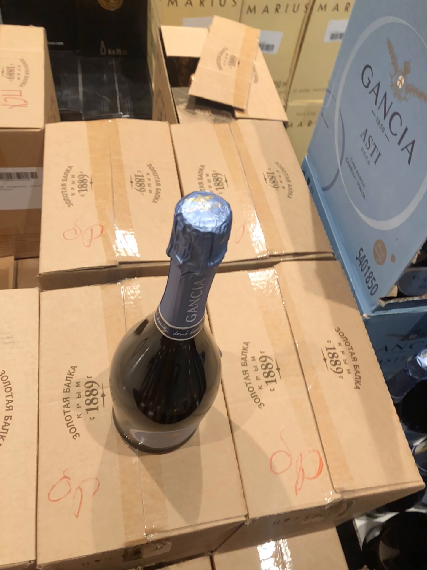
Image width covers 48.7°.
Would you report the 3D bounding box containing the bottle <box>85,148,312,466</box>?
[{"bbox_3d":[-0.029,0.046,0.366,0.101,0.299,0.090,-7,57,-14],"label":"bottle"}]
